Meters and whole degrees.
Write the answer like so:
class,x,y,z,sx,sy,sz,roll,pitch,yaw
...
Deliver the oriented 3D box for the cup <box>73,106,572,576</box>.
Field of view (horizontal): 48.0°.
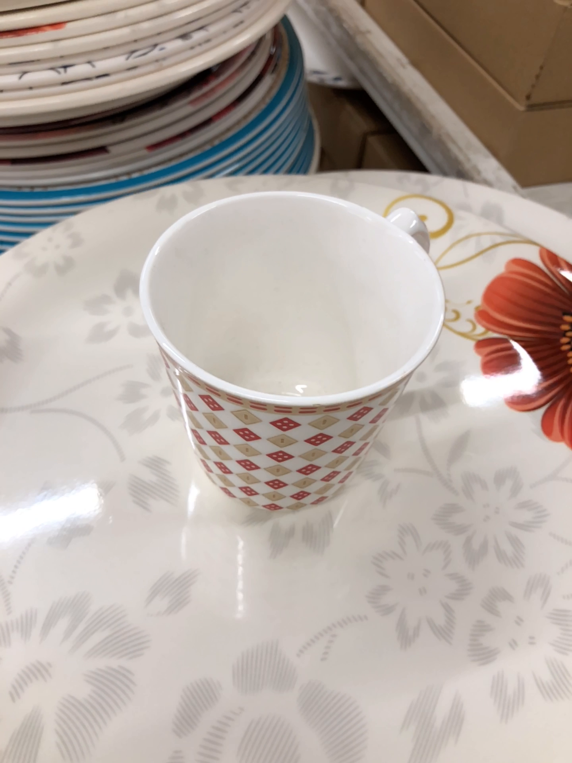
class,x,y,z,sx,sy,sz,roll,pitch,yaw
cup,0.012,-0.018,0.211,0.120,0.080,0.080,-30,61,-25
